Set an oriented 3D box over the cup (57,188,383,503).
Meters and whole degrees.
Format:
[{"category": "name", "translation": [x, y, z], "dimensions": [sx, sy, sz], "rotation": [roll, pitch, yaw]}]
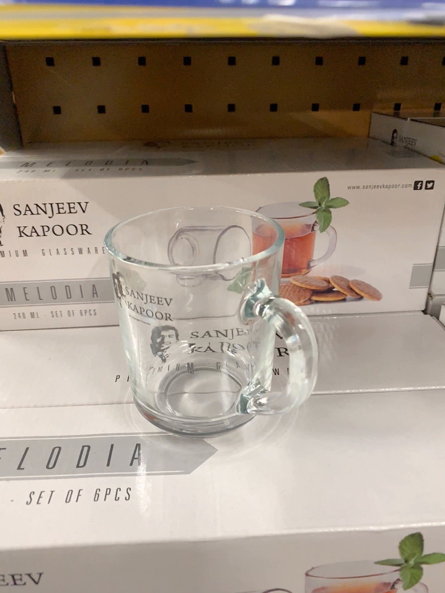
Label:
[{"category": "cup", "translation": [-0.001, 0.008, 0.190], "dimensions": [0.100, 0.080, 0.070], "rotation": [17, 30, 31]}]
